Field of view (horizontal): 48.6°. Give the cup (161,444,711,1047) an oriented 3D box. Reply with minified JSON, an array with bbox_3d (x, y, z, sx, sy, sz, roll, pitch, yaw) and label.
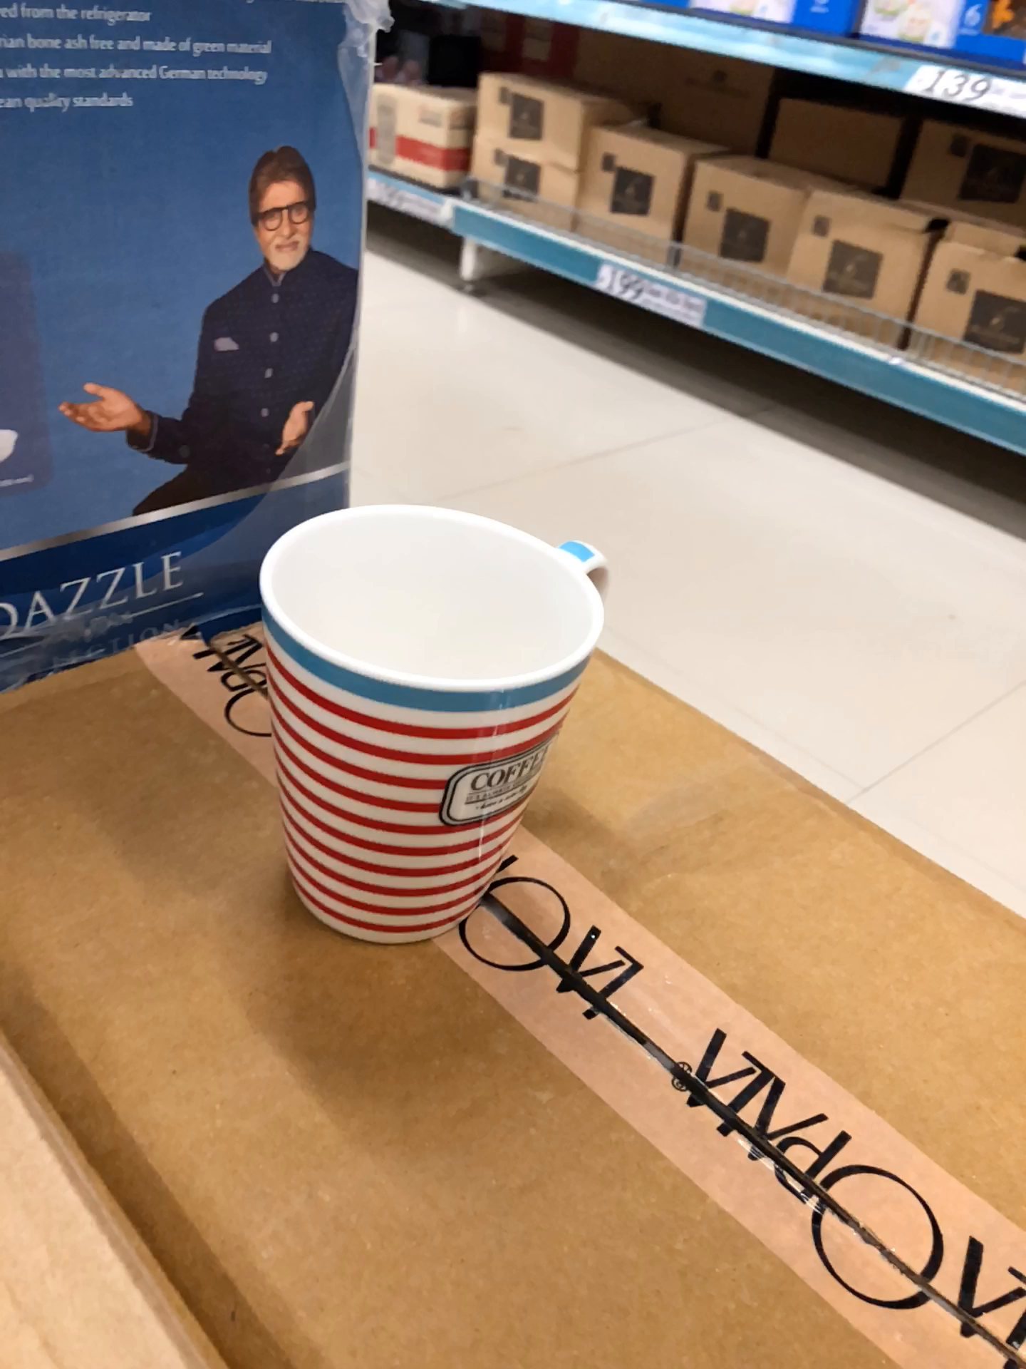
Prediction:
[{"bbox_3d":[-0.020,0.008,0.313,0.090,0.099,0.111,26,37,25],"label":"cup"}]
